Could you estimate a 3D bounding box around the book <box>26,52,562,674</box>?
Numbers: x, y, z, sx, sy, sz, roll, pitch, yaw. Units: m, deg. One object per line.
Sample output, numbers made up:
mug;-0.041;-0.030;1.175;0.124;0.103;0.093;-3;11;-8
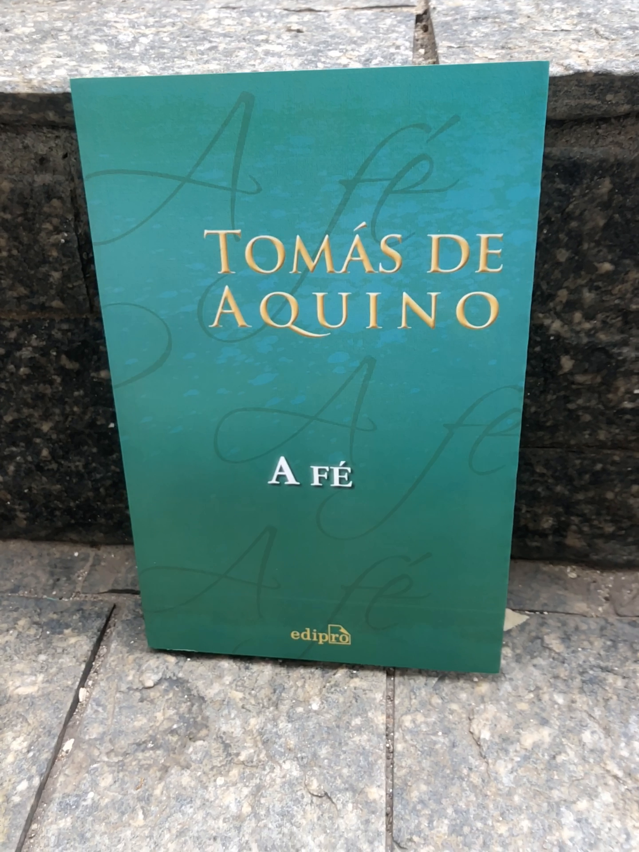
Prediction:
book;-0.008;-0.009;0.235;0.142;0.199;0.020;2;23;6
